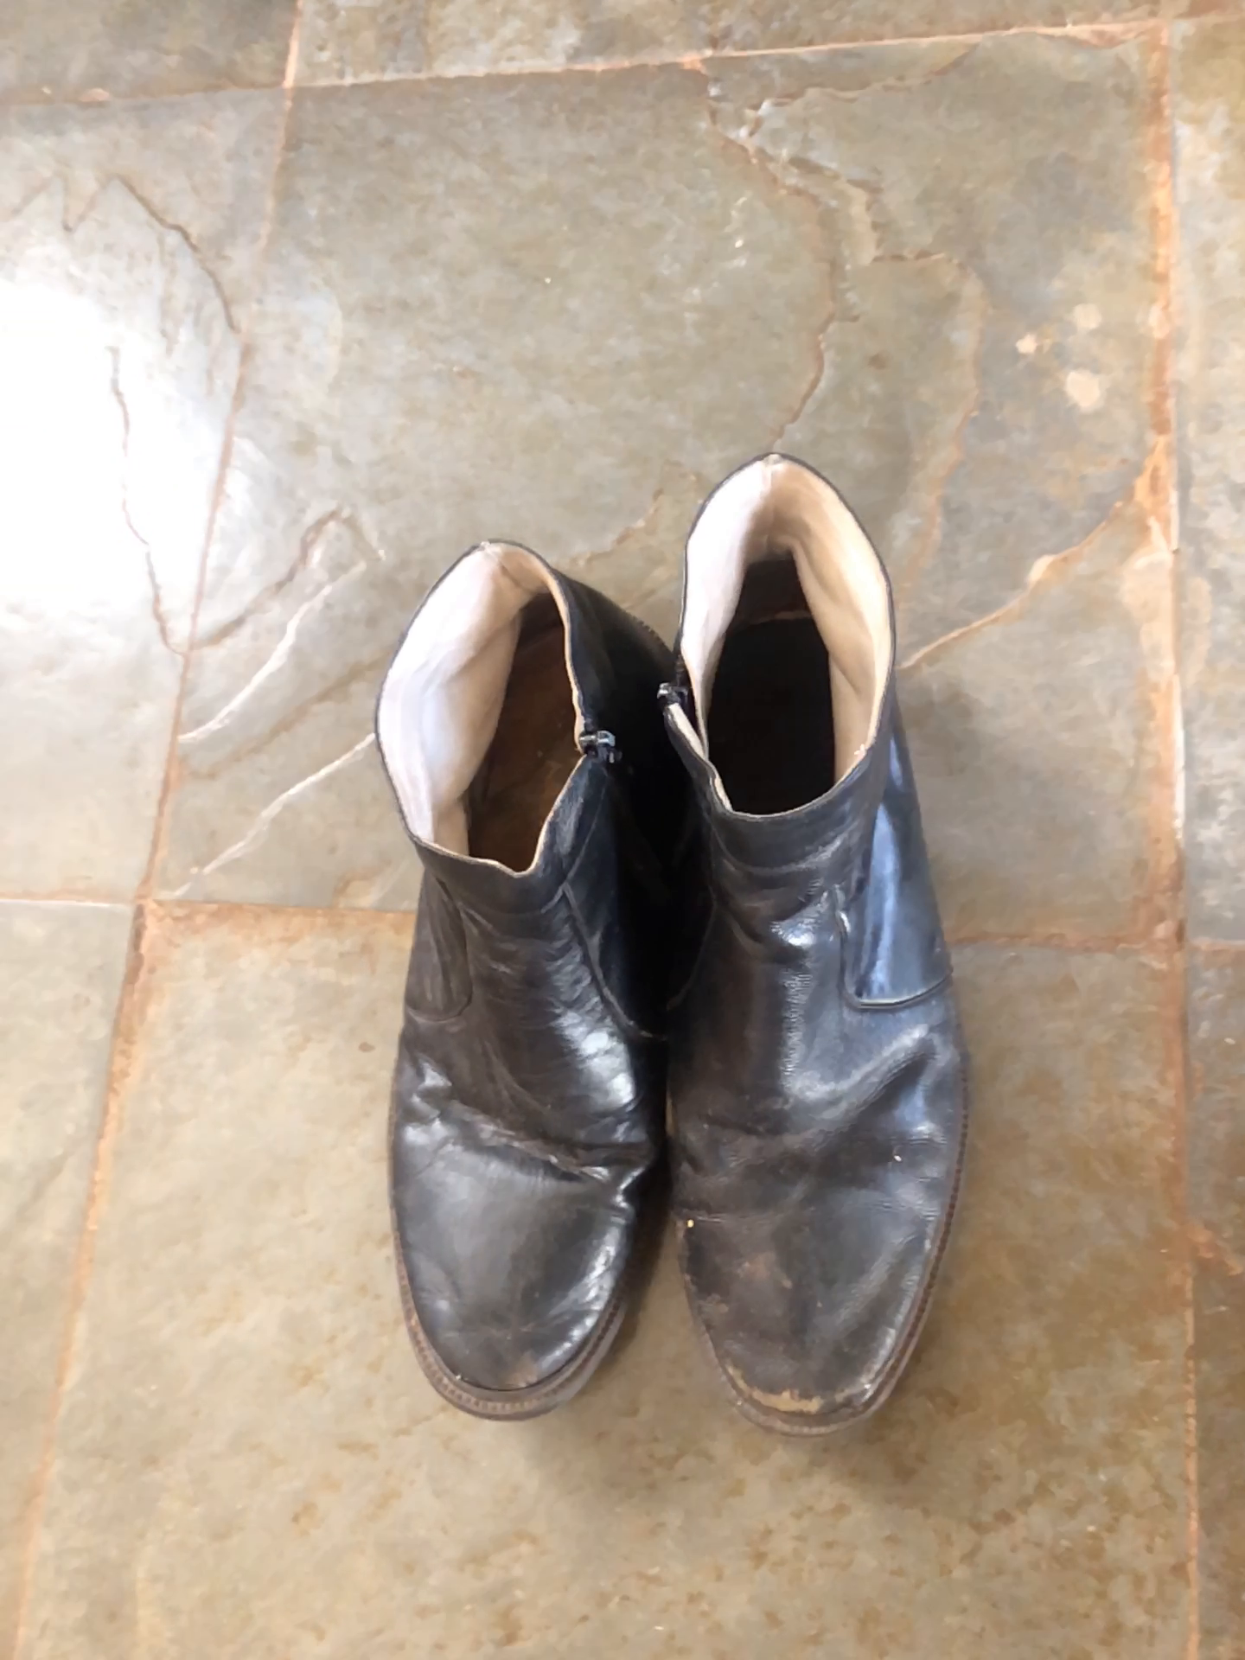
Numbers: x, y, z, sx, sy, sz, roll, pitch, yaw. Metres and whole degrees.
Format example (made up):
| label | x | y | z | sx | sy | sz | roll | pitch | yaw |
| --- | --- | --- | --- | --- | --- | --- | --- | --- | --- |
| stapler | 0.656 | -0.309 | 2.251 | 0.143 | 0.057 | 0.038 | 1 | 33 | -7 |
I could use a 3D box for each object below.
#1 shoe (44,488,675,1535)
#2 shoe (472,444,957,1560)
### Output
| label | x | y | z | sx | sy | sz | roll | pitch | yaw |
| --- | --- | --- | --- | --- | --- | --- | --- | --- | --- |
| shoe | -0.057 | 0.050 | 0.413 | 0.100 | 0.160 | 0.250 | 3 | 75 | 12 |
| shoe | 0.032 | 0.048 | 0.391 | 0.100 | 0.160 | 0.250 | -3 | 74 | 10 |
